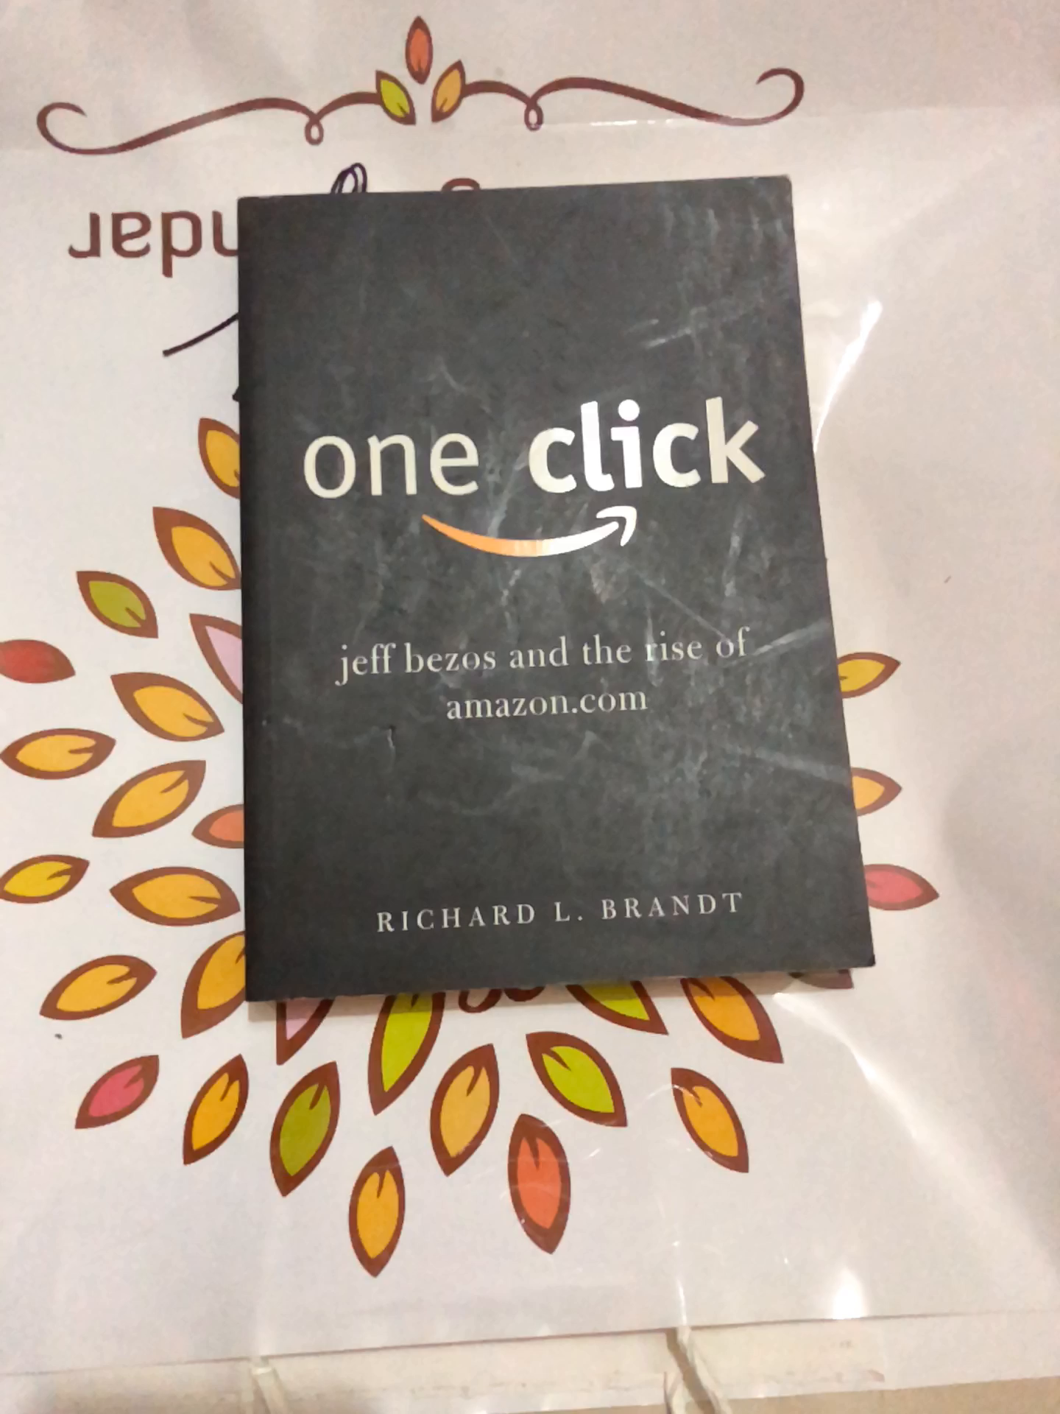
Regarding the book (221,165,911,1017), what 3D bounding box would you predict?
[{"bbox_3d":[0.004,-0.036,0.309,0.160,0.020,0.220,-3,76,1],"label":"book"}]
